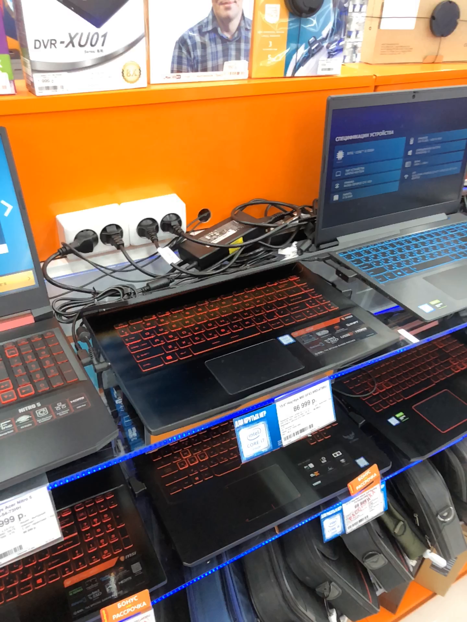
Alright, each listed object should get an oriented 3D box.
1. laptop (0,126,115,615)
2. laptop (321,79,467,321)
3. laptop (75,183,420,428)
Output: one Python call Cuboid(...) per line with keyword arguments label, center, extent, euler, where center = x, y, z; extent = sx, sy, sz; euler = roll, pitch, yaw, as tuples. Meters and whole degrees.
Cuboid(label="laptop", center=(-0.359, -0.007, 0.491), extent=(0.366, 0.225, 0.330), euler=(-16, 38, -27))
Cuboid(label="laptop", center=(0.356, -0.201, 0.814), extent=(0.326, 0.228, 0.279), euler=(-15, 37, -21))
Cuboid(label="laptop", center=(0.013, -0.036, 0.646), extent=(0.347, 0.134, 0.226), euler=(-16, 38, -27))
